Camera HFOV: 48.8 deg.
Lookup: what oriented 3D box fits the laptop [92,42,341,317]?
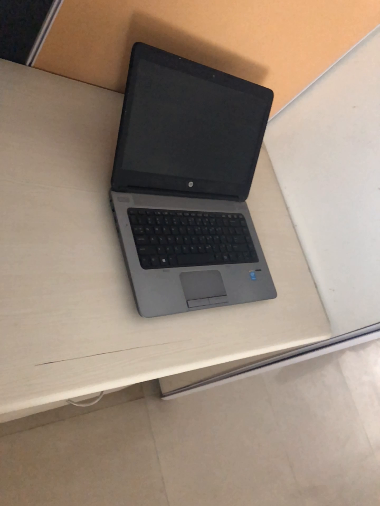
[{"bbox_3d":[0.049,-0.114,0.746,0.325,0.167,0.371,-3,70,-42],"label":"laptop"}]
